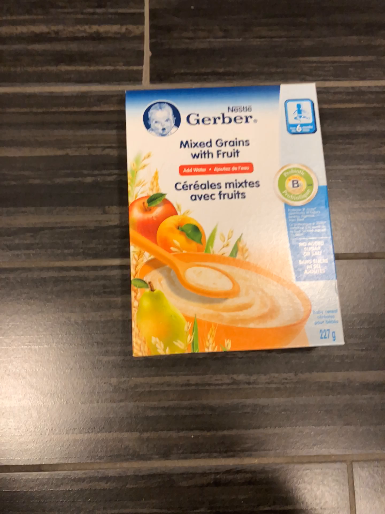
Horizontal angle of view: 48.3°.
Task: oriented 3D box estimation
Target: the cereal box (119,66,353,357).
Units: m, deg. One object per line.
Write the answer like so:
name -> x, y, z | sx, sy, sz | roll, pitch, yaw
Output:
cereal box -> 0.026, -0.033, 0.320 | 0.150, 0.050, 0.200 | -2, 81, -2
